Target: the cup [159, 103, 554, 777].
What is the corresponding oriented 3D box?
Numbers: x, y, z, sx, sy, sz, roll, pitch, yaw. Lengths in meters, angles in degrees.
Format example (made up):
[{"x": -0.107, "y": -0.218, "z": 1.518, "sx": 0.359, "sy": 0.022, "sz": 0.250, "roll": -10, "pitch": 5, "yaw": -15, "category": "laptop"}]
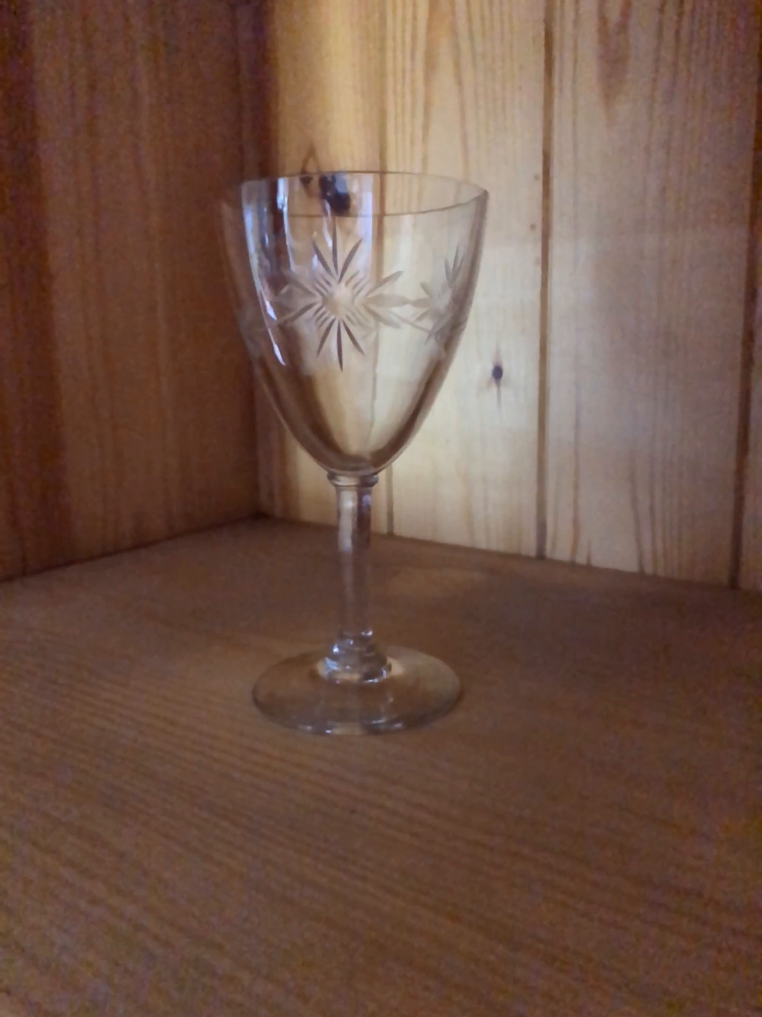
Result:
[{"x": -0.006, "y": -0.019, "z": 0.224, "sx": 0.070, "sy": 0.140, "sz": 0.070, "roll": -1, "pitch": 11, "yaw": 0, "category": "cup"}]
